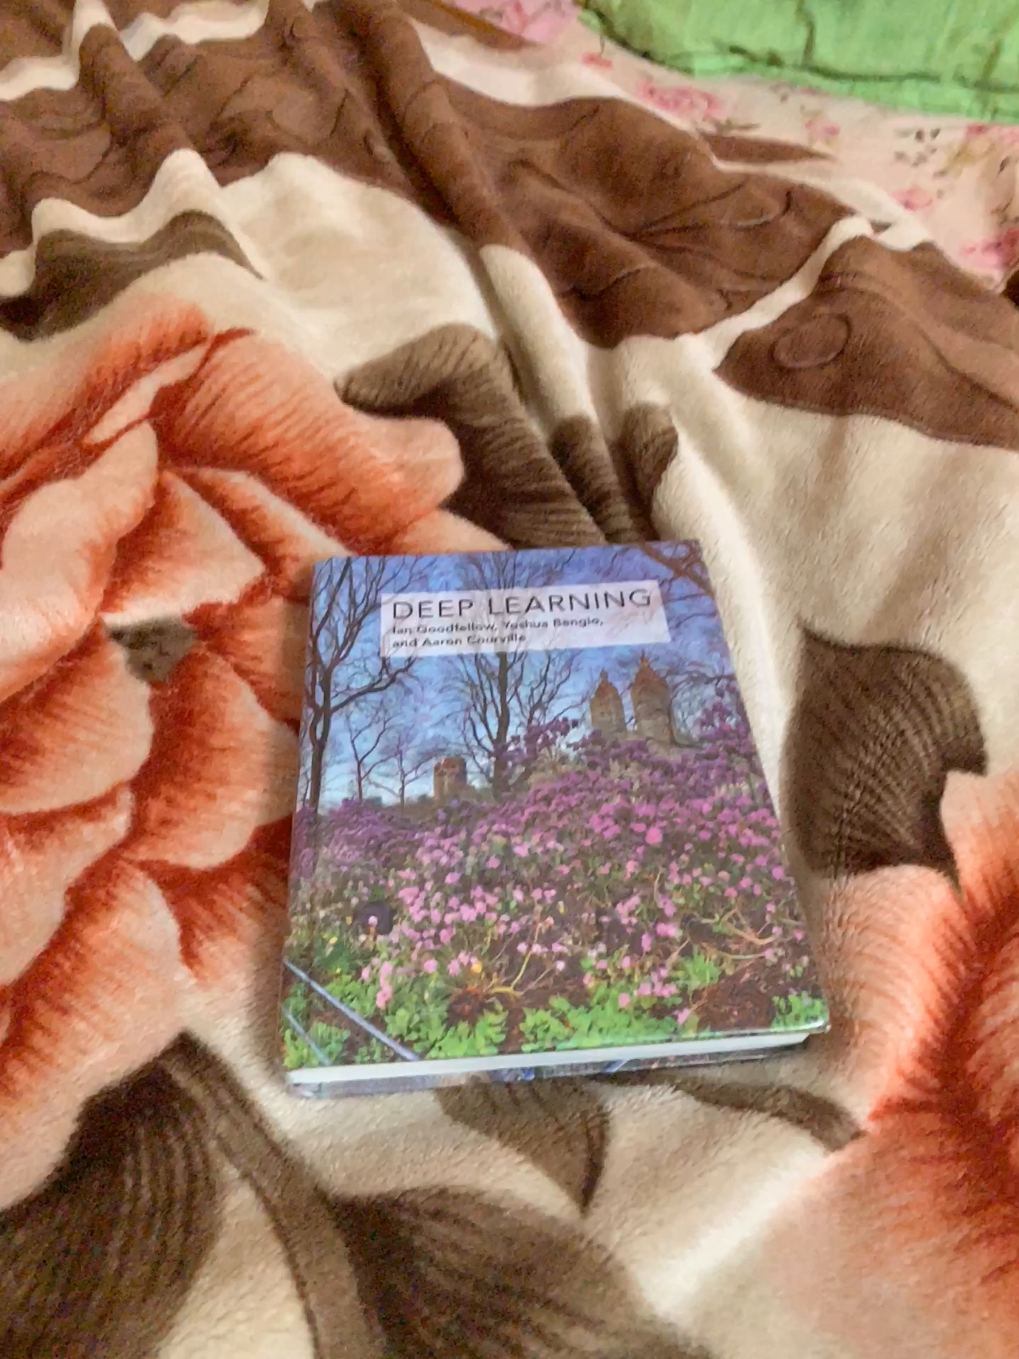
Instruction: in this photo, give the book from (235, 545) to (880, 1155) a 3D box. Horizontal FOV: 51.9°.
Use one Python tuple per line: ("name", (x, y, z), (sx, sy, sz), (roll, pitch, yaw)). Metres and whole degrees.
("book", (0.008, 0.047, 0.434), (0.210, 0.030, 0.262), (-2, 50, -4))
